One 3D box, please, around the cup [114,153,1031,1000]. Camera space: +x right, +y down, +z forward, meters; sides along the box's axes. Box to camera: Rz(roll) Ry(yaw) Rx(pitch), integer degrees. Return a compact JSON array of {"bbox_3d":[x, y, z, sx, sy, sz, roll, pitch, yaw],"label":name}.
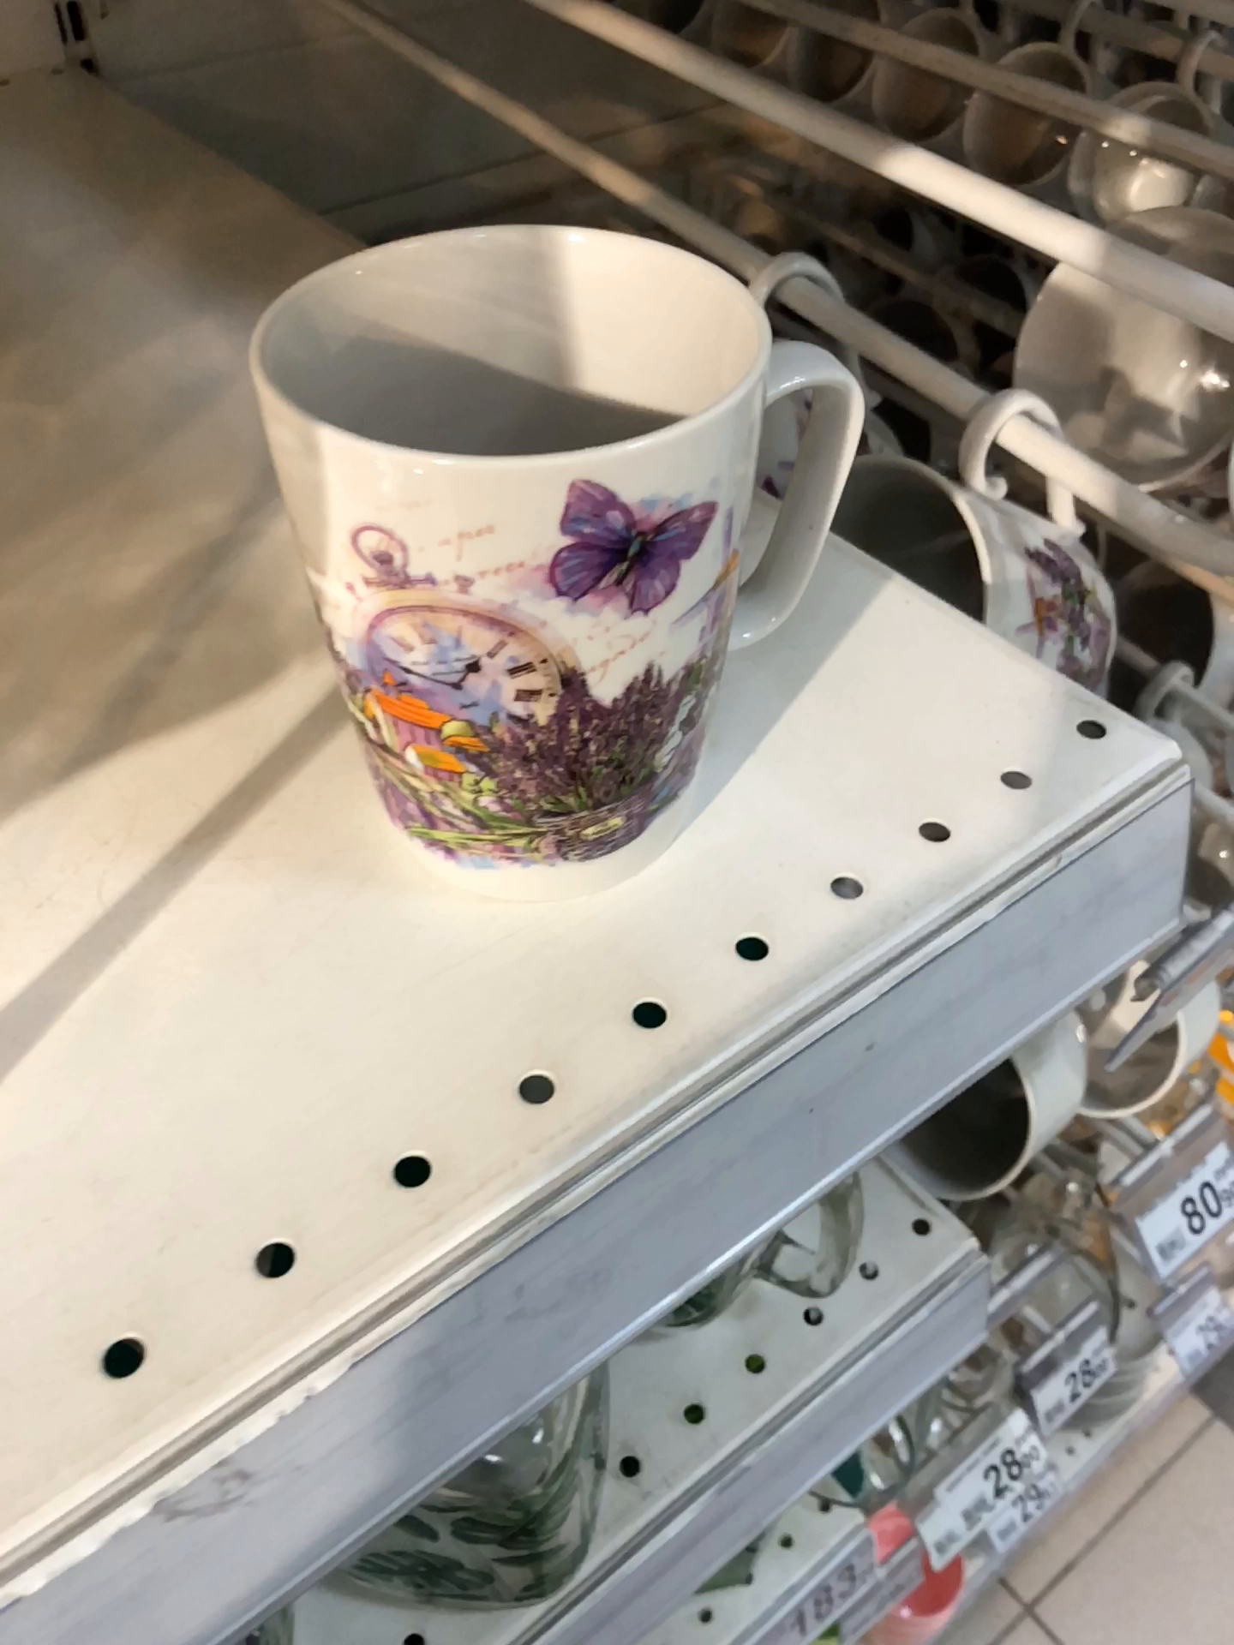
[{"bbox_3d":[-0.009,-0.048,0.248,0.119,0.094,0.082,-20,51,-20],"label":"cup"}]
